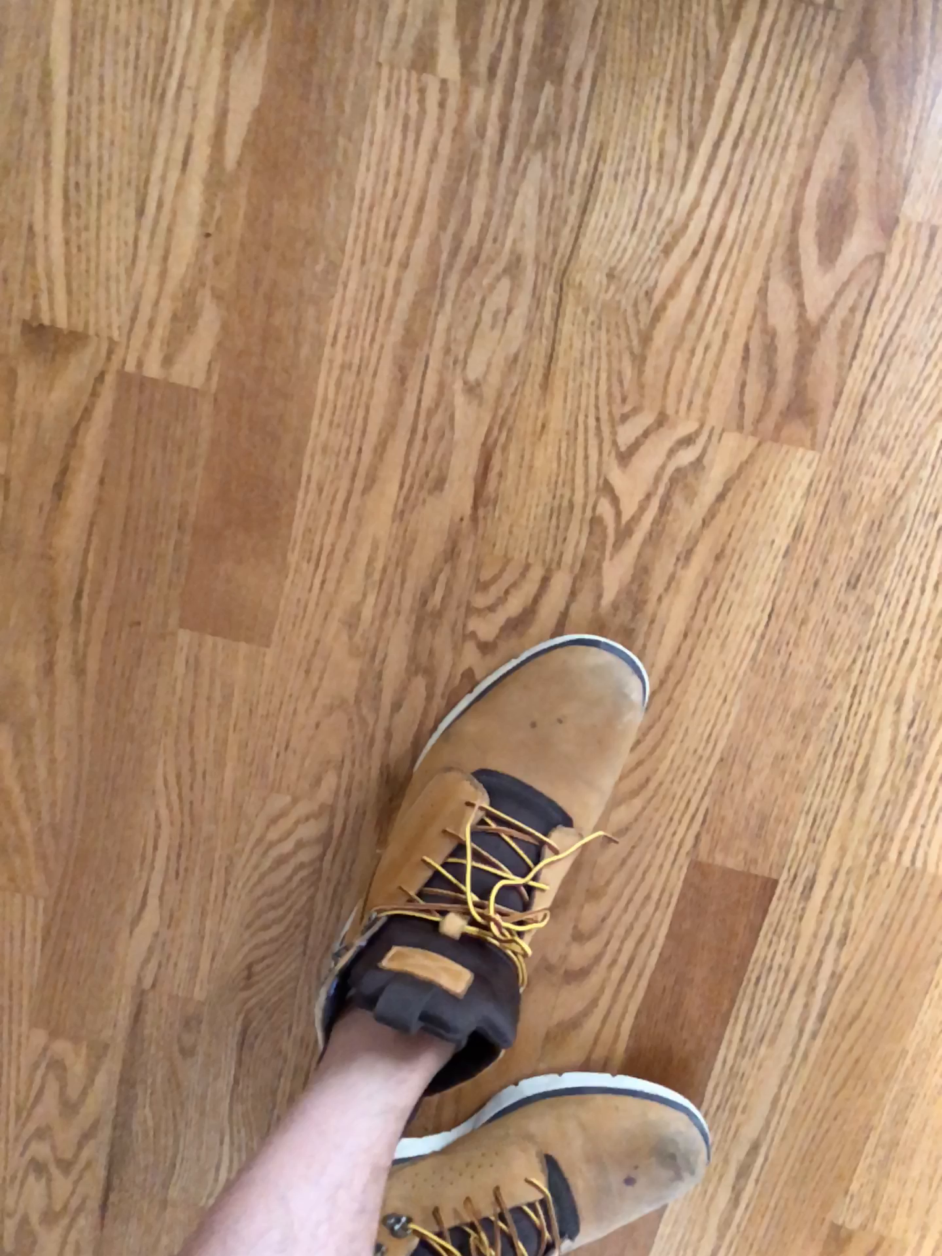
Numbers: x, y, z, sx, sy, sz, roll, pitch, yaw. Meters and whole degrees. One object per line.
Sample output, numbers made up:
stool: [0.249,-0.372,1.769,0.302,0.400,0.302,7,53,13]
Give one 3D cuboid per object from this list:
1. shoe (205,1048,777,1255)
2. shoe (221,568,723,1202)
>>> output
shoe: [0.023,0.393,0.648,0.300,0.170,0.130,-16,101,19]
shoe: [-0.002,0.139,0.619,0.130,0.140,0.320,29,95,-3]
